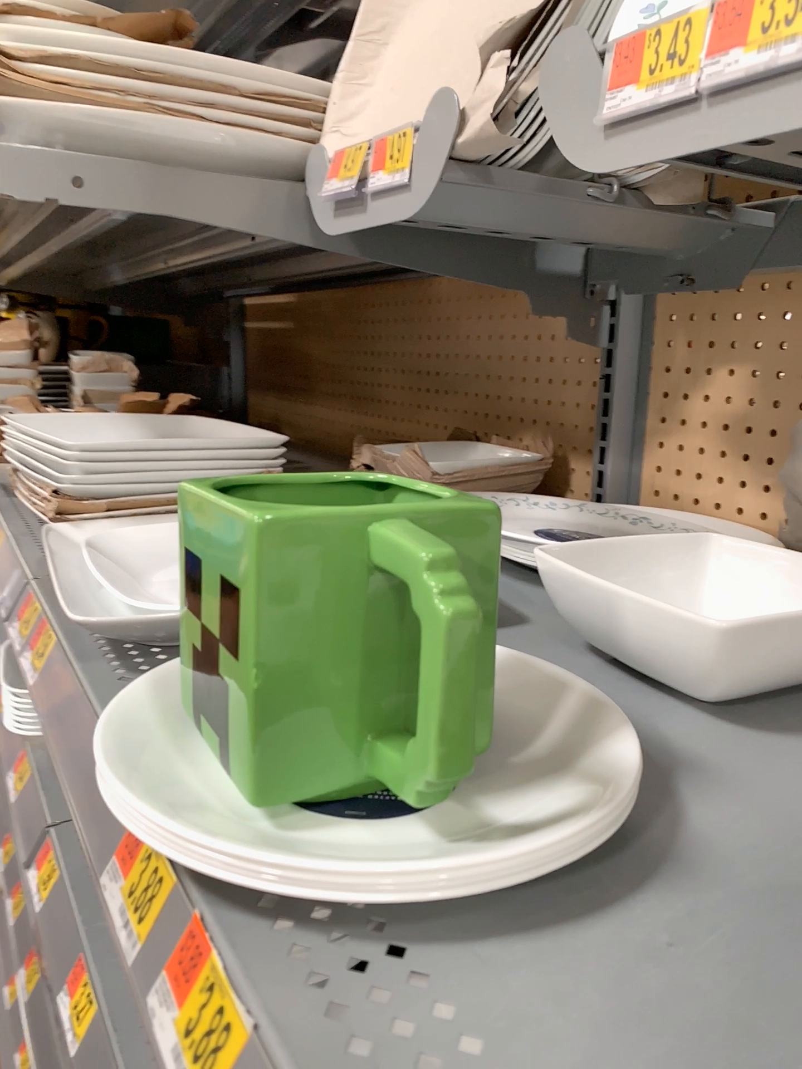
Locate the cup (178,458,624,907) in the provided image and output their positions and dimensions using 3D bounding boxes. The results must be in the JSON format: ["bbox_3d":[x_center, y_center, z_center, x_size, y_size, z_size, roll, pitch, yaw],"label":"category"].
[{"bbox_3d":[-0.012,0.034,0.305,0.105,0.104,0.142,-5,14,-28],"label":"cup"}]
